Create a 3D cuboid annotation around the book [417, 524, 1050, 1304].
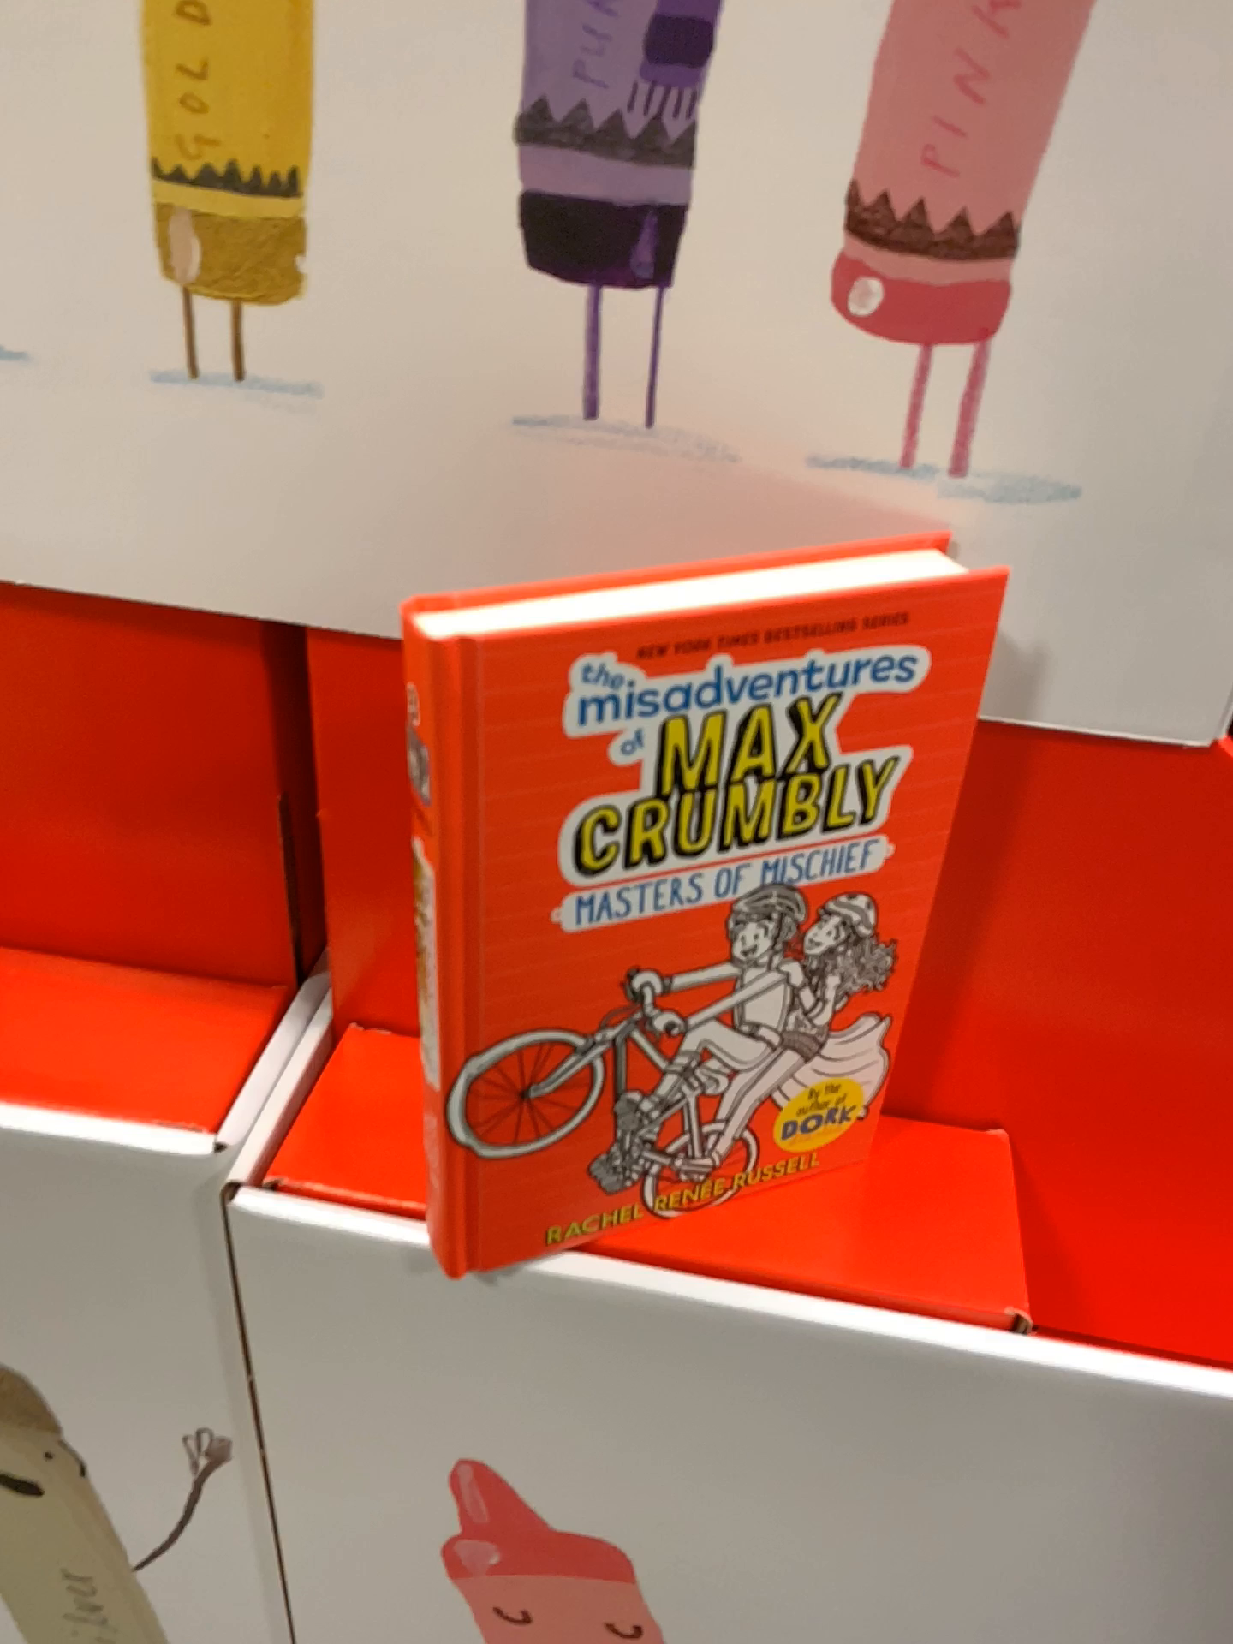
[{"bbox_3d":[0.021,0.030,0.330,0.142,0.201,0.031,-12,38,-23],"label":"book"}]
